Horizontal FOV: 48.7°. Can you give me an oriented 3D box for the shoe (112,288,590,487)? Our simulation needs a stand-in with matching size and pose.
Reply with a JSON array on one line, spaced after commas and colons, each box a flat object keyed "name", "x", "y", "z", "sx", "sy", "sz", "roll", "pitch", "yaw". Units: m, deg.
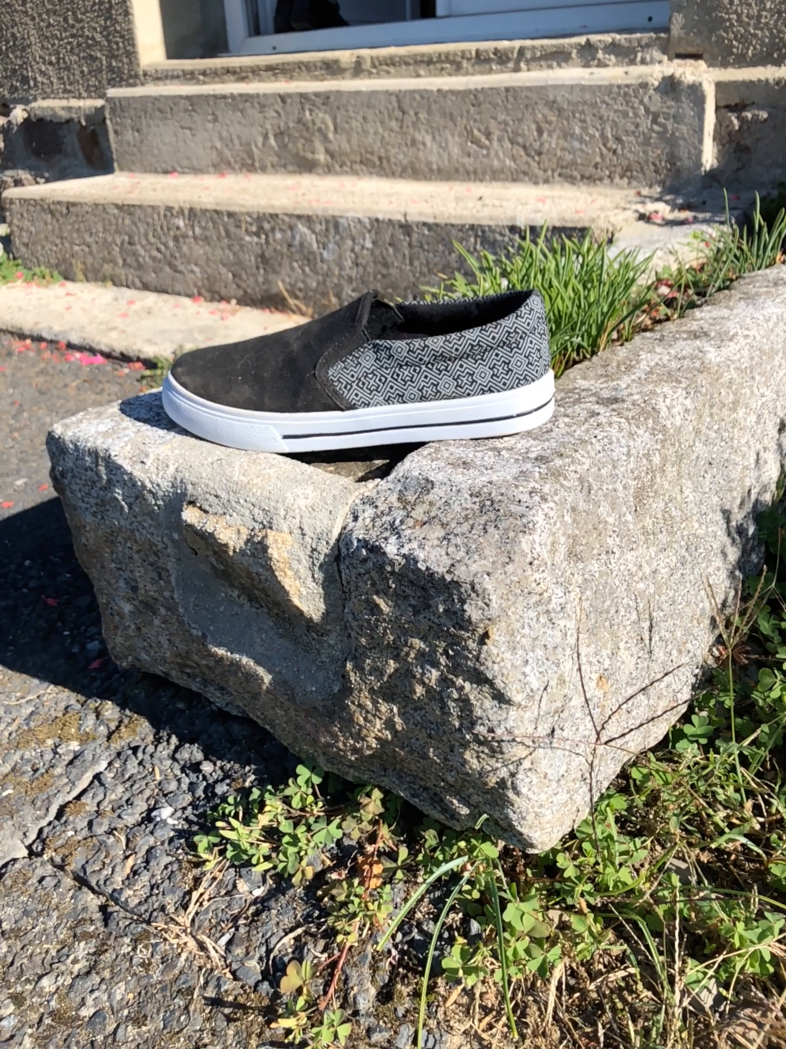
[{"name": "shoe", "x": -0.020, "y": -0.089, "z": 0.521, "sx": 0.260, "sy": 0.080, "sz": 0.101, "roll": 5, "pitch": 27, "yaw": 15}]
